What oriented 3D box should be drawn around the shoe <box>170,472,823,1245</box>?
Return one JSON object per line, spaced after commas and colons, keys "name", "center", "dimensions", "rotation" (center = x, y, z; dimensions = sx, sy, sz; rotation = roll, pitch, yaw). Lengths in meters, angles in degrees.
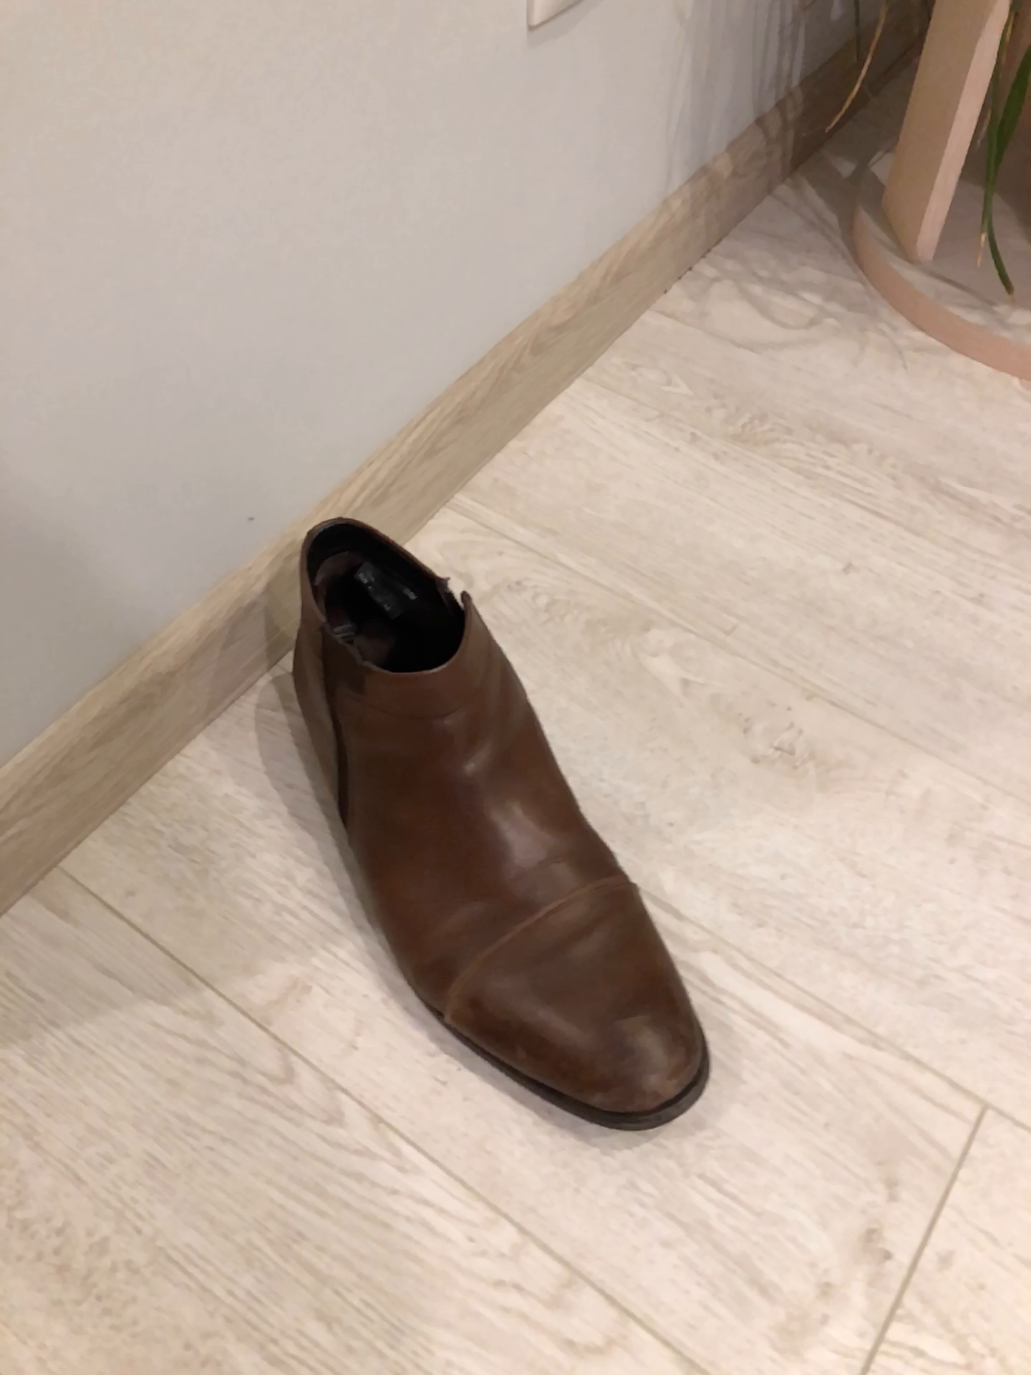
{"name": "shoe", "center": [-0.026, 0.055, 0.500], "dimensions": [0.120, 0.109, 0.311], "rotation": [-26, 56, -19]}
